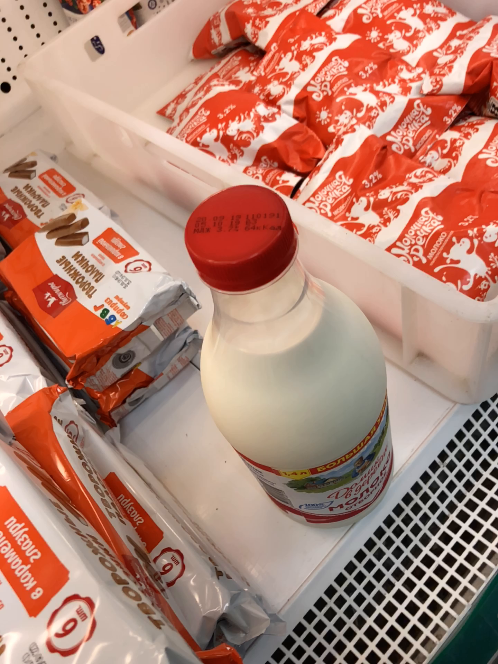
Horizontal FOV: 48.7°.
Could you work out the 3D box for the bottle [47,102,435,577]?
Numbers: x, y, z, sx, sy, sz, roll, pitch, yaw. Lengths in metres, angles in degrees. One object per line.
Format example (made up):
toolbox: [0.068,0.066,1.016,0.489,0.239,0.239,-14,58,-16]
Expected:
bottle: [0.027,0.038,0.308,0.110,0.279,0.090,-41,56,-11]
